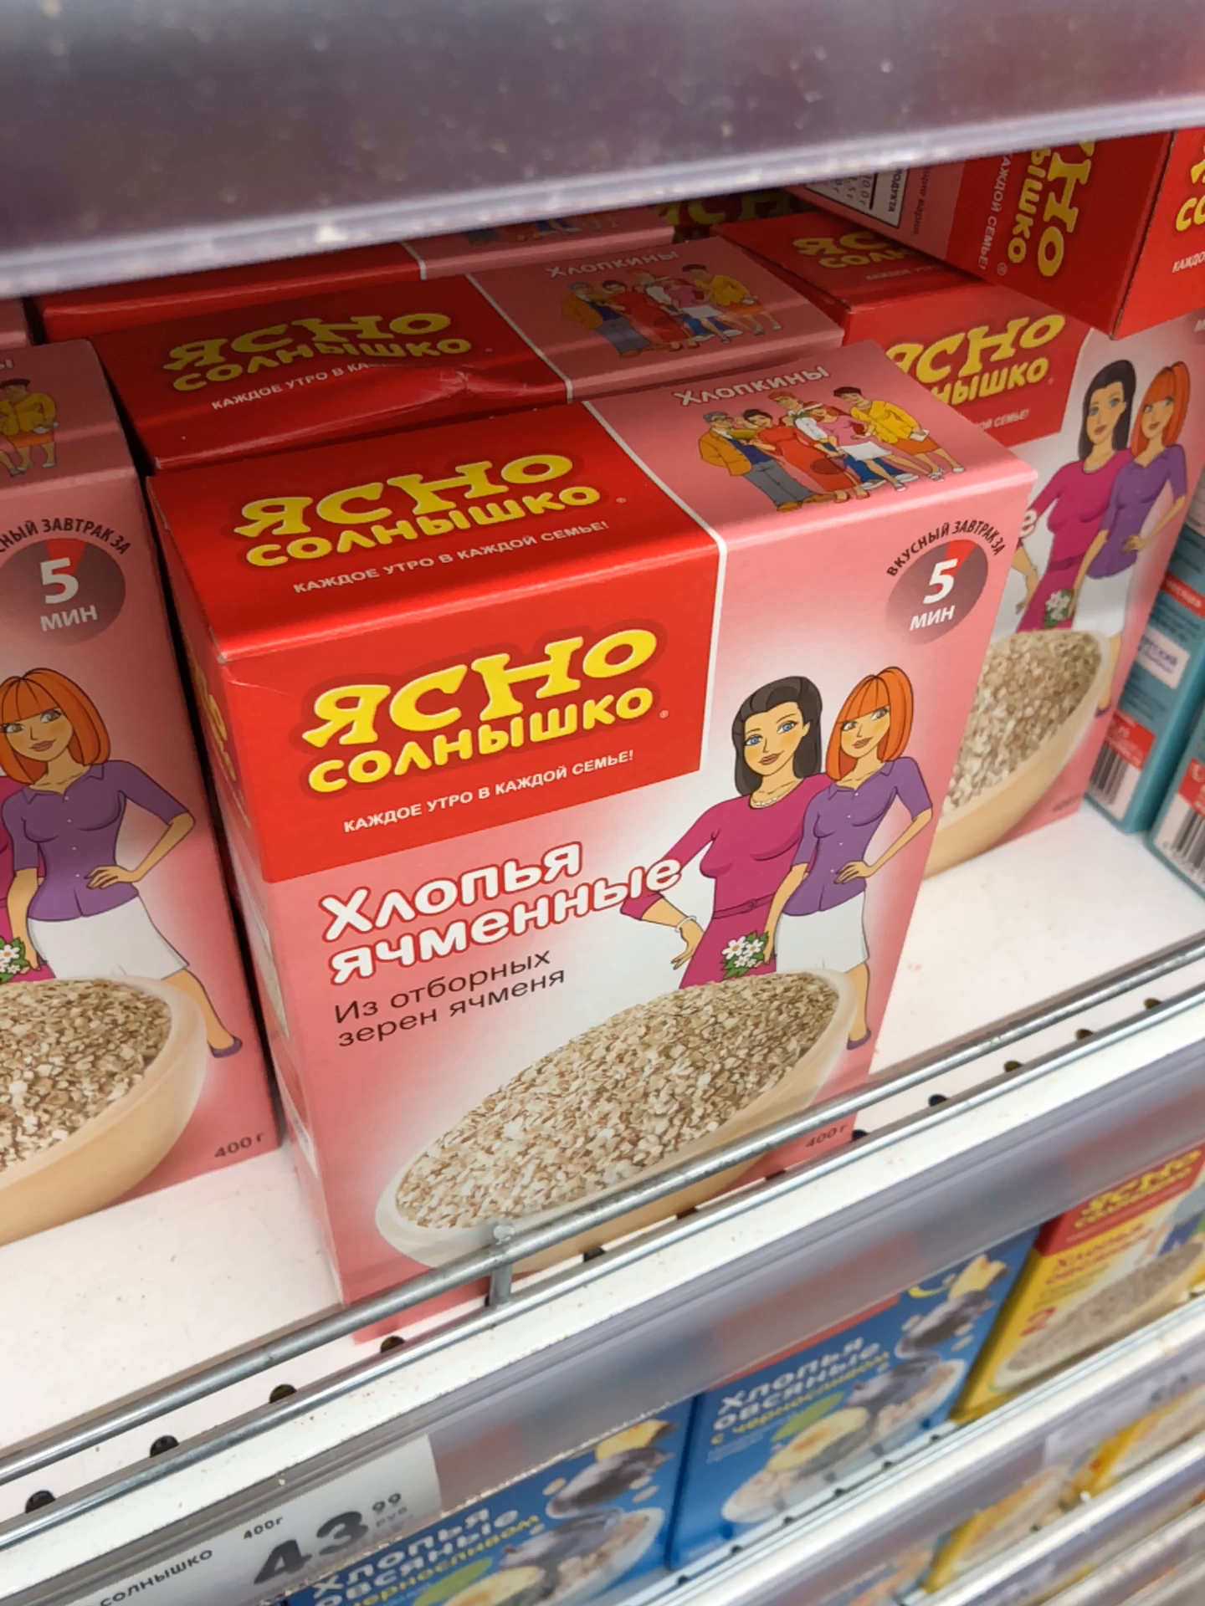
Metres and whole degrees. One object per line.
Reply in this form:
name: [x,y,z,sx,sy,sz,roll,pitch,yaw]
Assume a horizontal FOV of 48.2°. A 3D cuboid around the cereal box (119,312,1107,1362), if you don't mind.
cereal box: [0.001,0.016,0.265,0.140,0.189,0.050,-17,46,-19]
